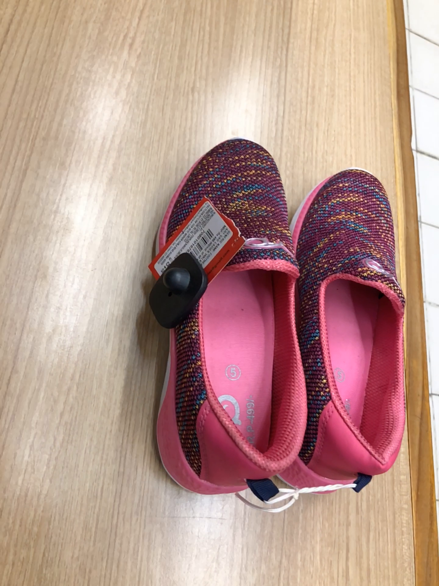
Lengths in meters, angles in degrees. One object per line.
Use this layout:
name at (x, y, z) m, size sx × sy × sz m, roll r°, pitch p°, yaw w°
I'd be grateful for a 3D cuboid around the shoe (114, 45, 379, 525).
shoe at (0.012, -0.001, 0.296) m, size 0.105 × 0.103 × 0.244 m, roll 10°, pitch 69°, yaw -20°

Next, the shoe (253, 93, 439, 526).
shoe at (0.105, 0.012, 0.331) m, size 0.105 × 0.103 × 0.245 m, roll 16°, pitch 67°, yaw -17°
